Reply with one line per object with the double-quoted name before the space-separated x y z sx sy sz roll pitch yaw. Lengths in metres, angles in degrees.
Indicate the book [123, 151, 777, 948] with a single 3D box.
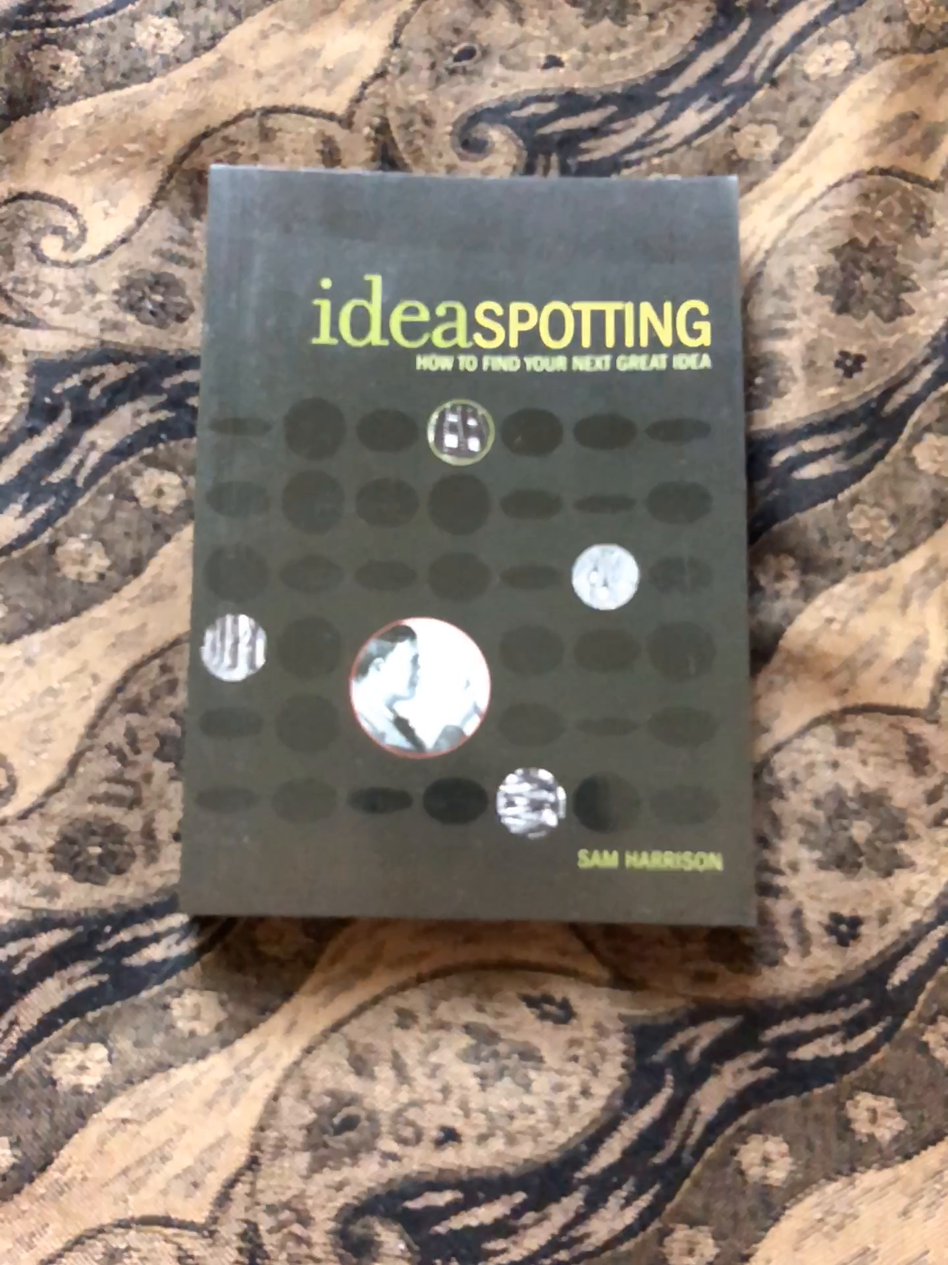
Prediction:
"book" -0.004 -0.020 0.261 0.140 0.040 0.180 1 83 -1
